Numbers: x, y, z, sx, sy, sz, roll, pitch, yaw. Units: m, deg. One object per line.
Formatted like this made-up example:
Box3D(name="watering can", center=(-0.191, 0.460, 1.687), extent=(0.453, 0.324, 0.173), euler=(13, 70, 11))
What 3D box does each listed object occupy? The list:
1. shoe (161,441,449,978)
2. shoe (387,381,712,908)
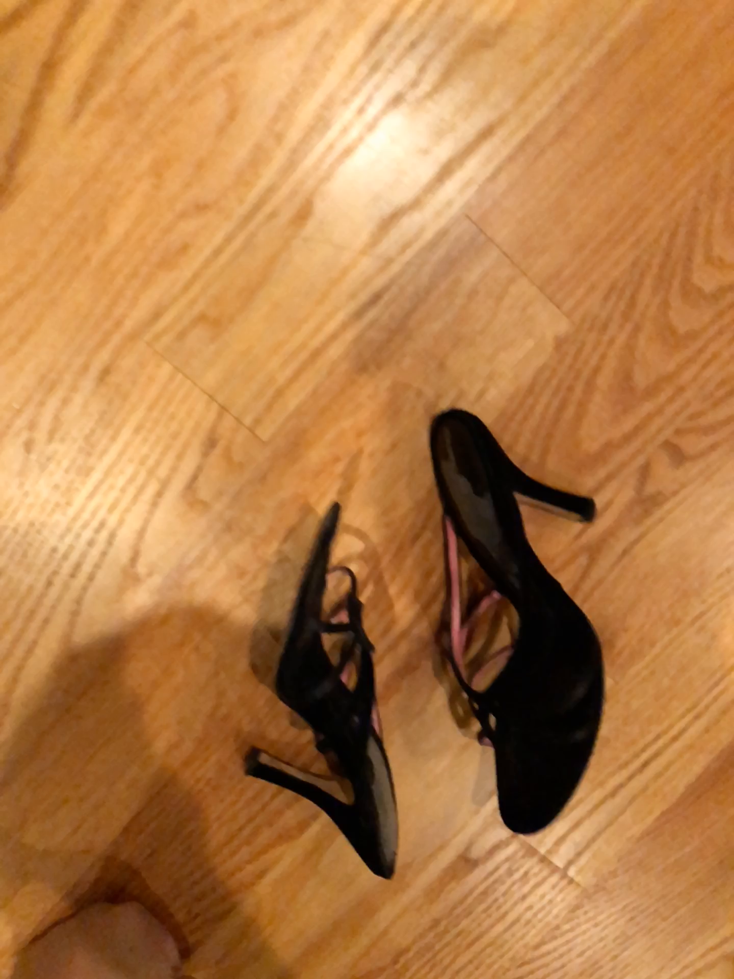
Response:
Box3D(name="shoe", center=(-0.029, 0.106, 0.392), extent=(0.082, 0.104, 0.235), euler=(-11, 102, -7))
Box3D(name="shoe", center=(0.085, 0.066, 0.399), extent=(0.102, 0.104, 0.215), euler=(-11, 102, -4))
